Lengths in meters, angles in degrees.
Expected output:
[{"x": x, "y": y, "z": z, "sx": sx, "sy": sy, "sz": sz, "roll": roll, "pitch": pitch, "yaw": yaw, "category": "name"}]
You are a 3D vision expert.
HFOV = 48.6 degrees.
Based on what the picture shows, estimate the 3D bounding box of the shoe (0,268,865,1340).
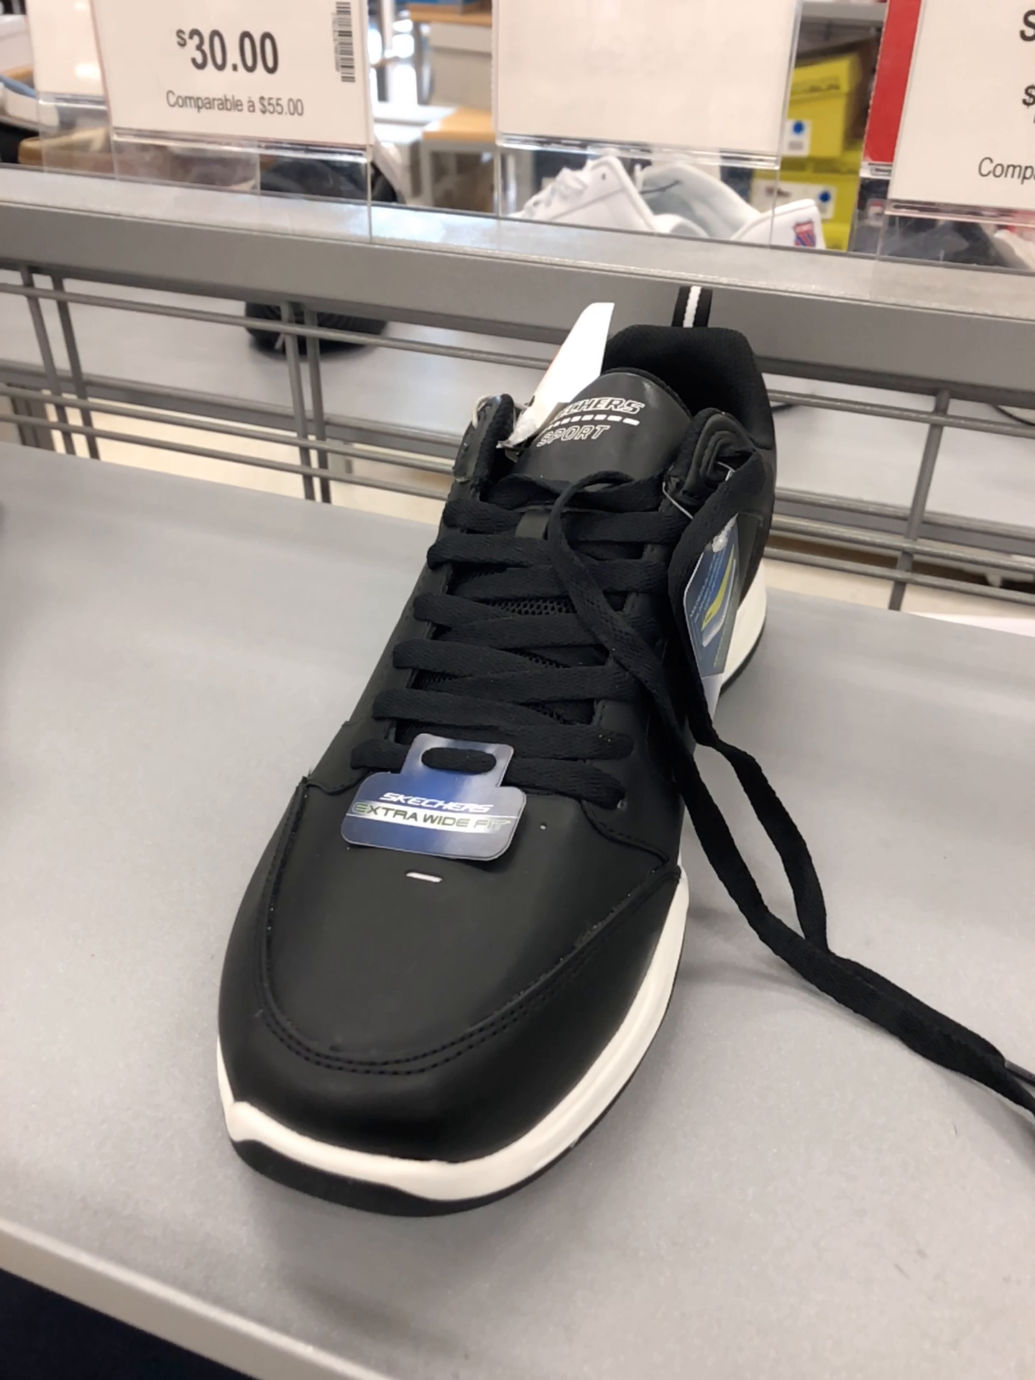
[{"x": 0.011, "y": -0.020, "z": 0.358, "sx": 0.130, "sy": 0.109, "sz": 0.353, "roll": 13, "pitch": 38, "yaw": 16, "category": "shoe"}]
